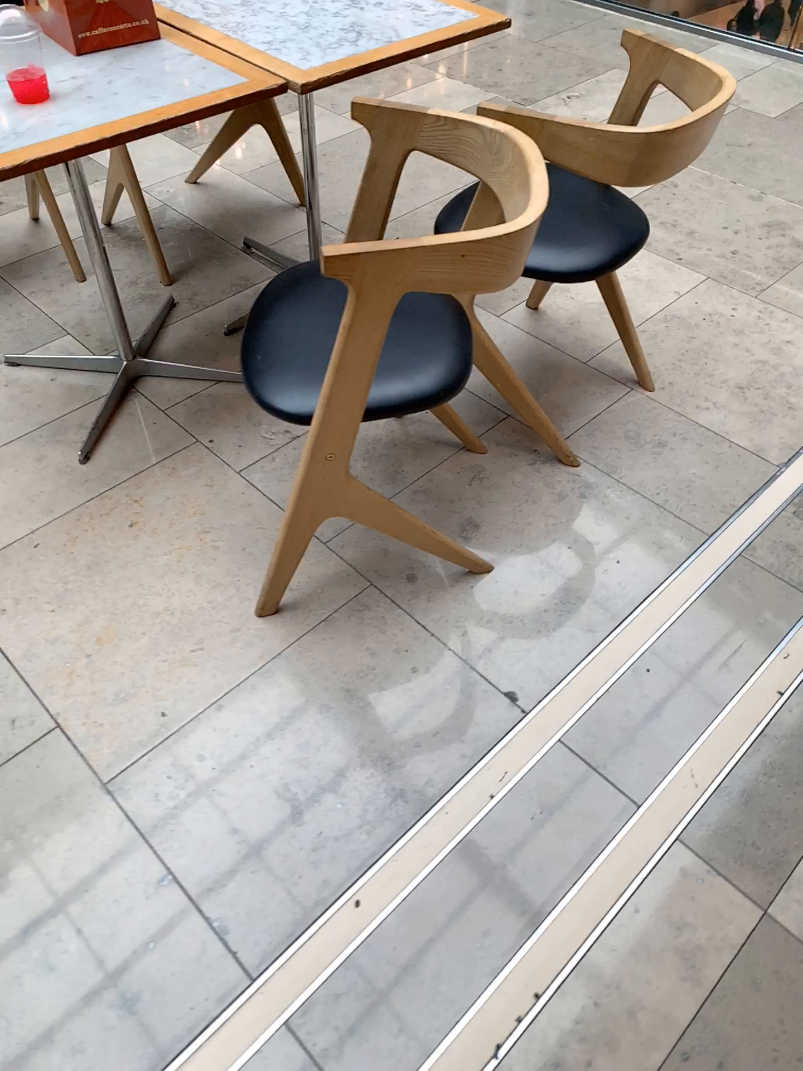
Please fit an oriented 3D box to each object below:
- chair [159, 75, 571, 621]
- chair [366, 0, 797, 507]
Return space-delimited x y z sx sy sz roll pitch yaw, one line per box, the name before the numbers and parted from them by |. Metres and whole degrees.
chair | -0.043 -0.324 1.468 0.499 0.707 0.649 1 48 0
chair | 0.338 -0.609 1.740 0.531 0.717 0.637 30 54 24
